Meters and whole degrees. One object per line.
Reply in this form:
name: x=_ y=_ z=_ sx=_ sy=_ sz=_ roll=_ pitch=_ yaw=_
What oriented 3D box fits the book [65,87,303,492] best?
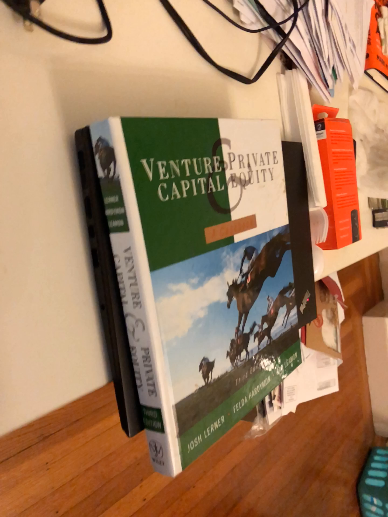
book: x=0.017 y=0.007 z=0.370 sx=0.221 sy=0.030 sz=0.270 roll=-18 pitch=103 yaw=-49
